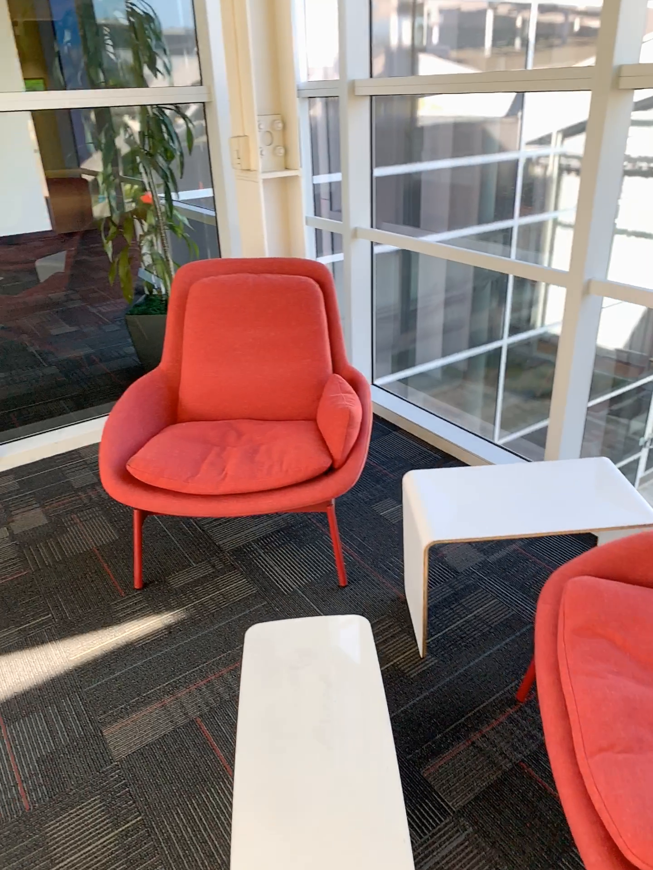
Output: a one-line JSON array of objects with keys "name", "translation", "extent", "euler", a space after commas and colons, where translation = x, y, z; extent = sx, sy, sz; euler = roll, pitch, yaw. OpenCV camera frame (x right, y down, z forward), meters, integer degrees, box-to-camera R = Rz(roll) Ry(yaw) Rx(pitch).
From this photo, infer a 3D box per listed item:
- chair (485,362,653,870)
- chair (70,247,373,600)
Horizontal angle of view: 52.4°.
[{"name": "chair", "translation": [0.854, 0.500, 1.213], "extent": [0.920, 0.994, 0.875], "euler": [0, 28, 5]}, {"name": "chair", "translation": [-0.279, -0.072, 2.510], "extent": [0.870, 1.054, 0.825], "euler": [-1, 27, 3]}]
